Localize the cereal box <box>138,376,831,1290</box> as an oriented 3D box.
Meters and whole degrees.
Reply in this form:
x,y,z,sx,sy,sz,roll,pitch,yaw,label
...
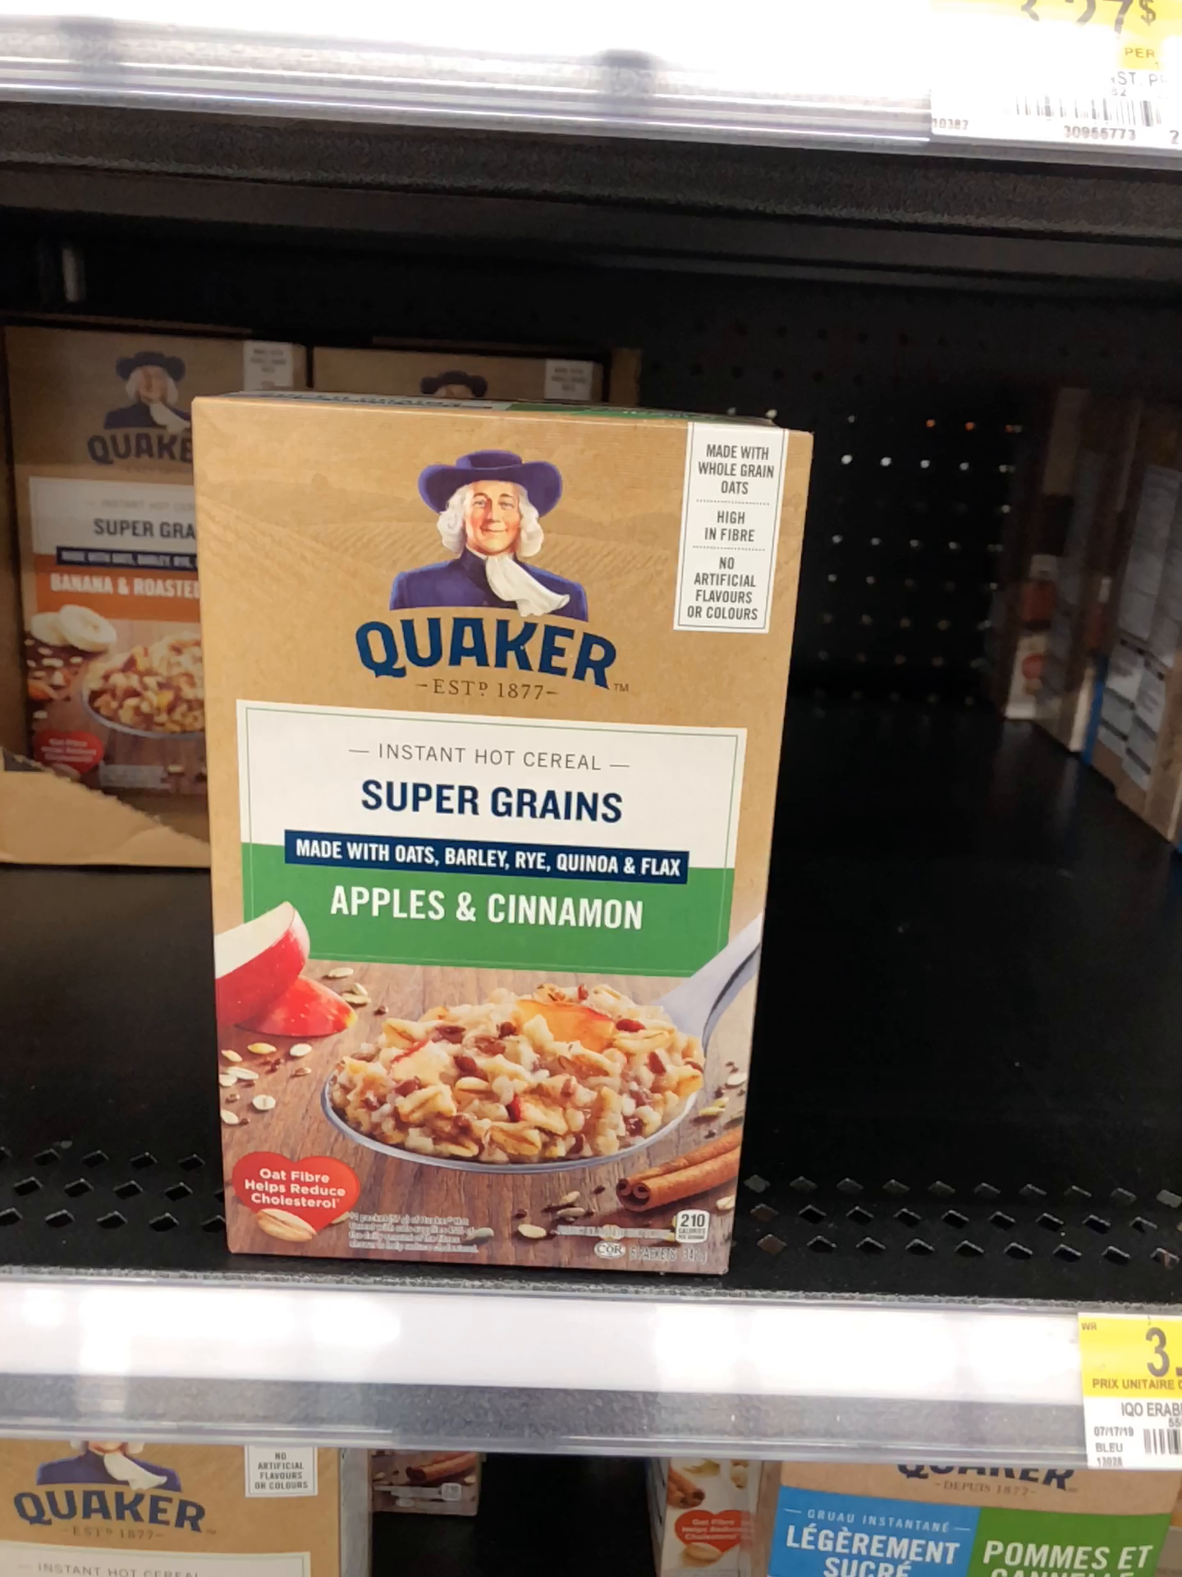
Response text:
x,y,z,sx,sy,sz,roll,pitch,yaw,label
-0.025,0.013,0.307,0.130,0.199,0.060,3,19,-1,cereal box
